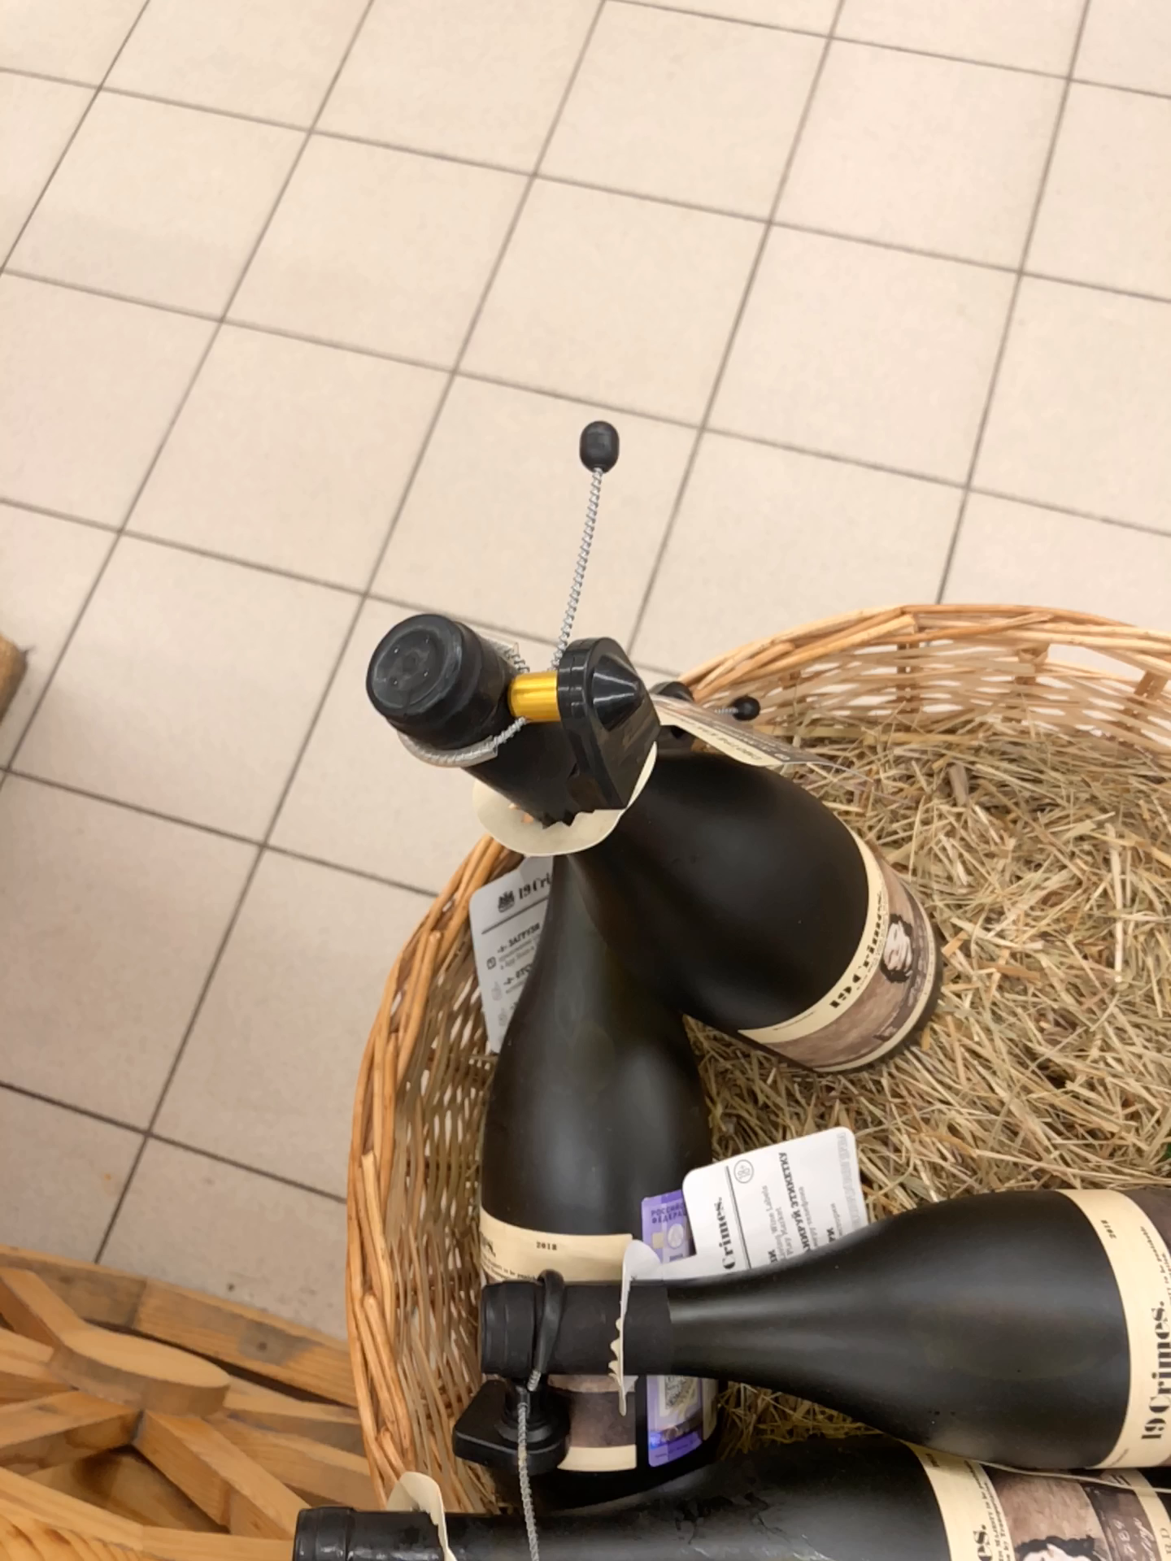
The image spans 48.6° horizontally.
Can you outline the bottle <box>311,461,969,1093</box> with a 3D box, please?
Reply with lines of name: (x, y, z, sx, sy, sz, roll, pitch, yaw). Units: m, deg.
bottle: (0.046, 0.024, 0.400, 0.080, 0.289, 0.090, 2, 71, 28)
